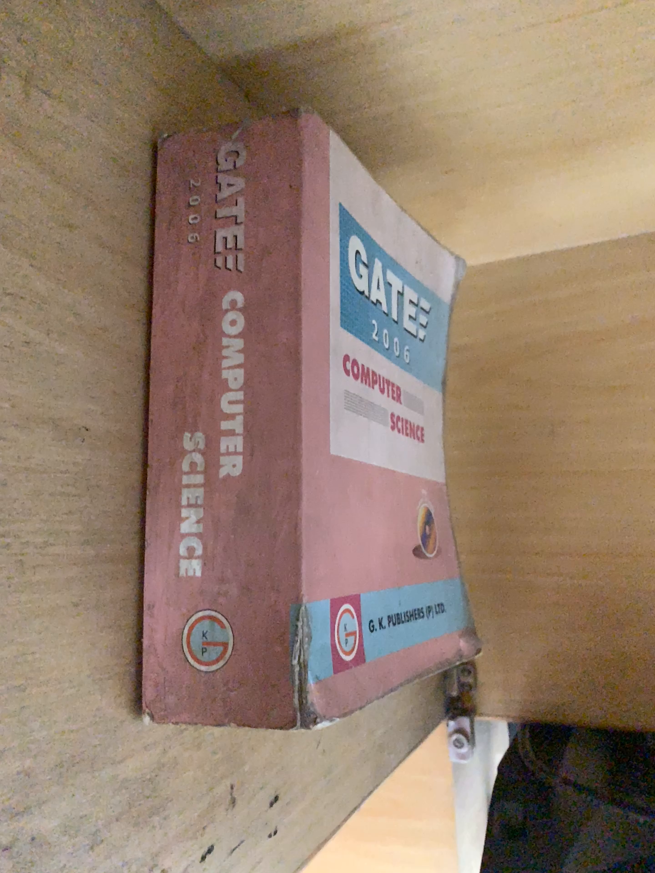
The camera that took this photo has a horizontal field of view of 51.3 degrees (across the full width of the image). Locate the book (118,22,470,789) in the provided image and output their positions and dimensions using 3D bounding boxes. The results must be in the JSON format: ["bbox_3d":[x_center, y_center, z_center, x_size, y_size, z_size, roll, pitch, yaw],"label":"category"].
[{"bbox_3d":[0.000,-0.007,0.336,0.191,0.080,0.270,19,68,-63],"label":"book"}]
